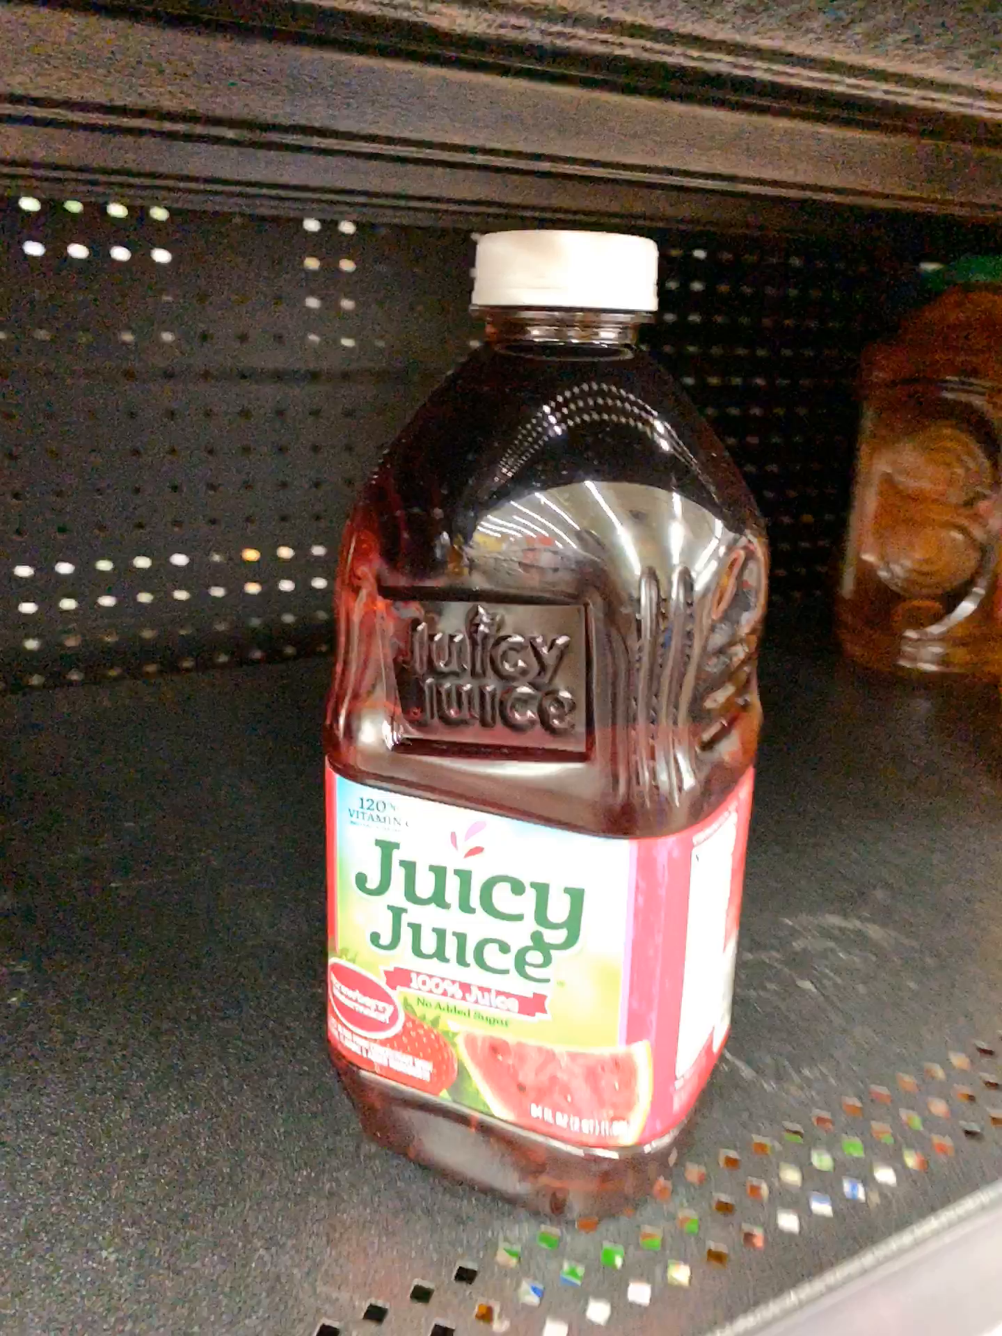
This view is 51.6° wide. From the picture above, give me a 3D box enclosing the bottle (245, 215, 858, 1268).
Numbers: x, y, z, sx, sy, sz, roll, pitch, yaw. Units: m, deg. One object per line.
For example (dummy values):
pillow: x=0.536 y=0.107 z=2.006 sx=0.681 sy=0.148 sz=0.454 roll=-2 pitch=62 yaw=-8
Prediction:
bottle: x=0.013 y=0.014 z=0.294 sx=0.125 sy=0.255 sz=0.090 roll=10 pitch=21 yaw=21
